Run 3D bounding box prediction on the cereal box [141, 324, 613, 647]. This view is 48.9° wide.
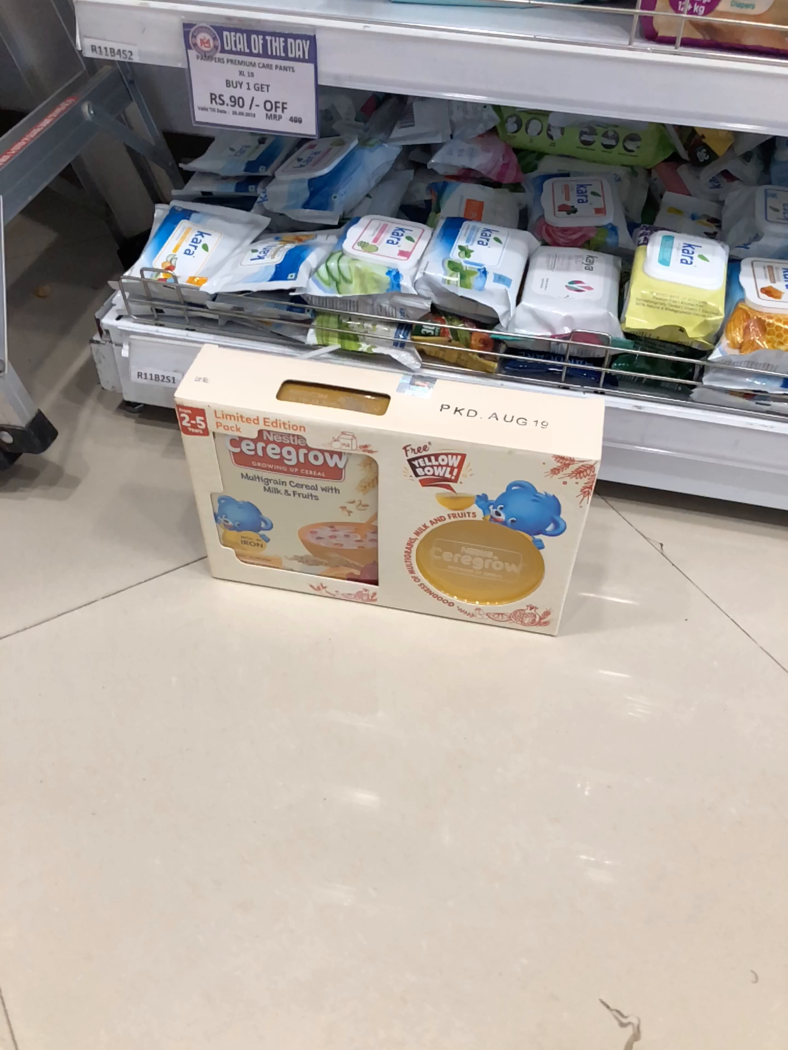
[{"bbox_3d":[-0.011,-0.024,0.660,0.310,0.209,0.070,9,47,8],"label":"cereal box"}]
